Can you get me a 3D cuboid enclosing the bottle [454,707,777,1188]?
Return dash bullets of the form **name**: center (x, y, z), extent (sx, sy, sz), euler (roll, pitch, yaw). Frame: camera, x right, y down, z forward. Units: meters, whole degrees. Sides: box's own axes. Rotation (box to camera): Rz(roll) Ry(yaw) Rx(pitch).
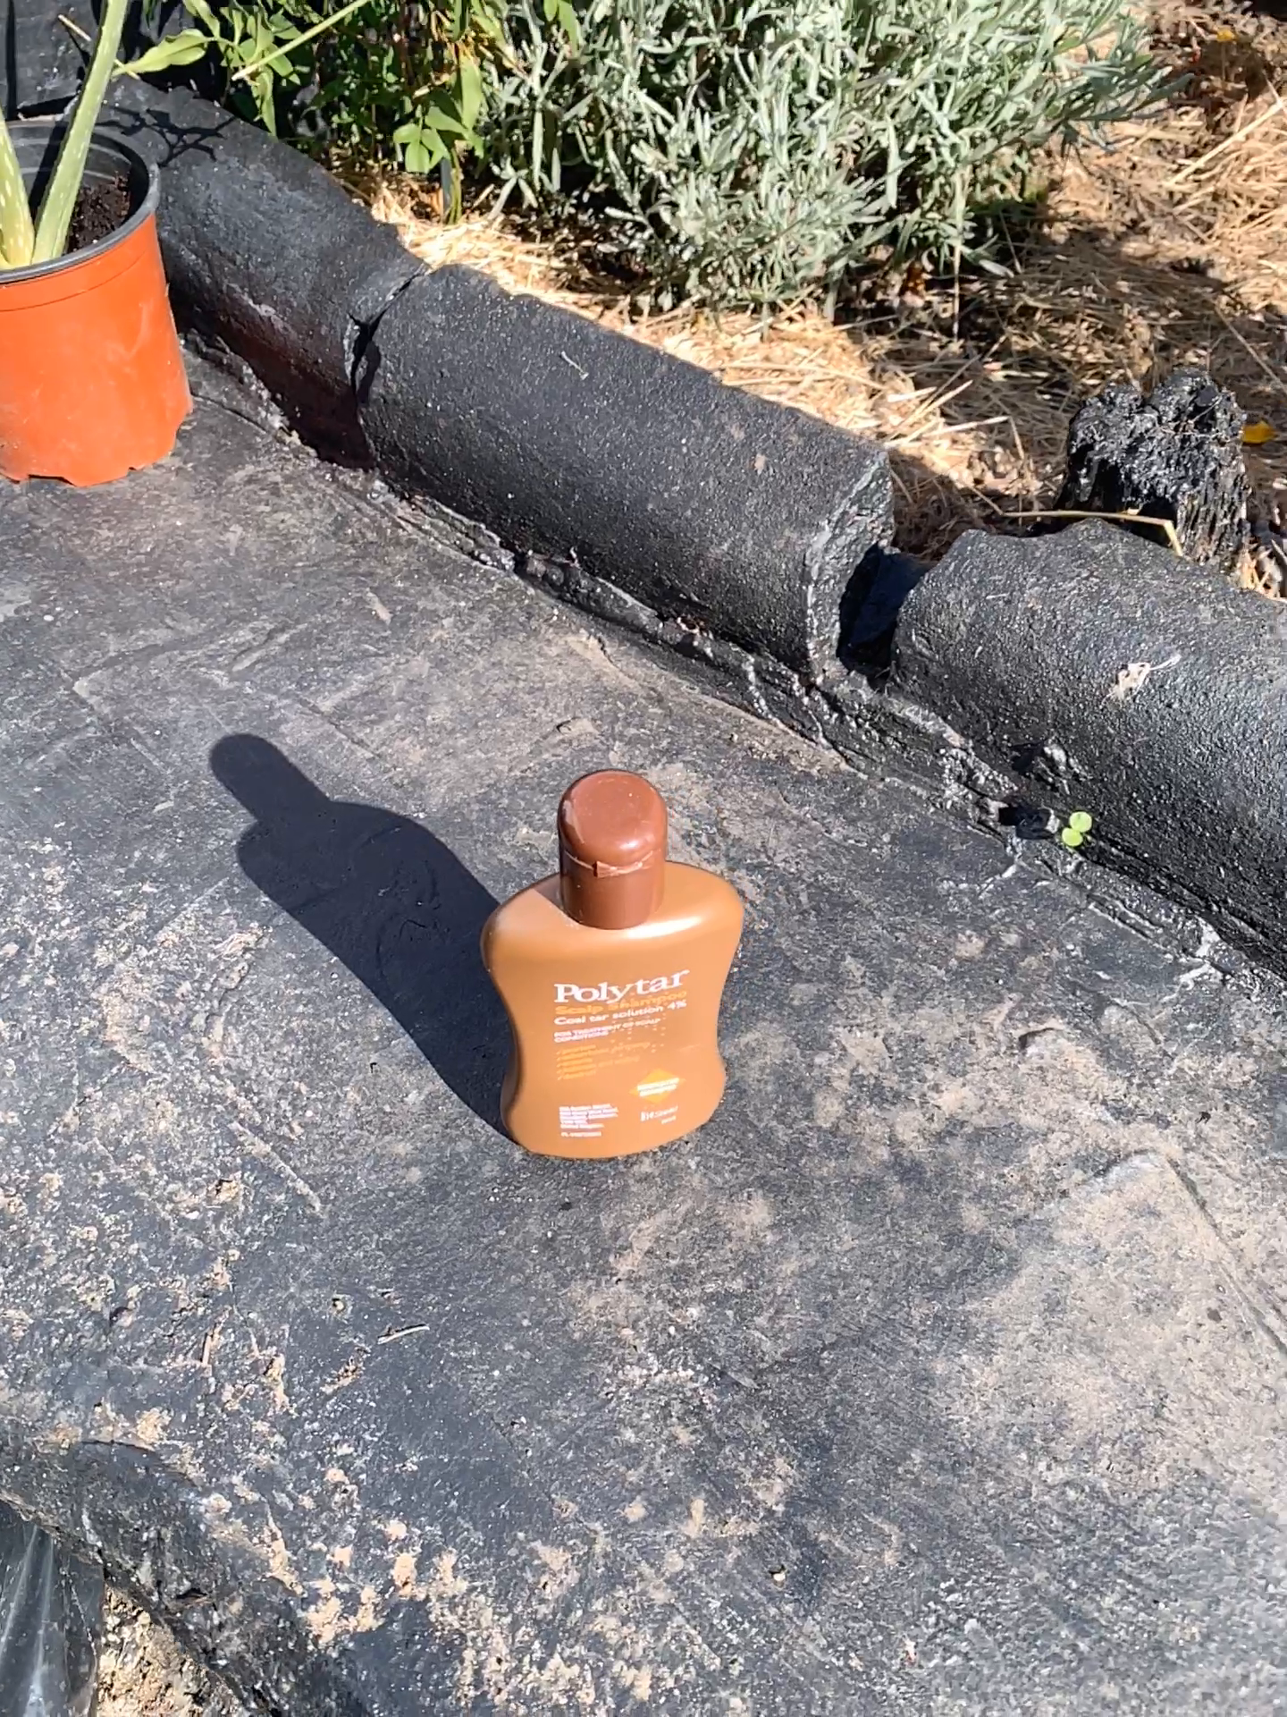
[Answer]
- **bottle**: center (-0.009, 0.032, 0.371), extent (0.070, 0.149, 0.040), euler (-10, 49, -10)
